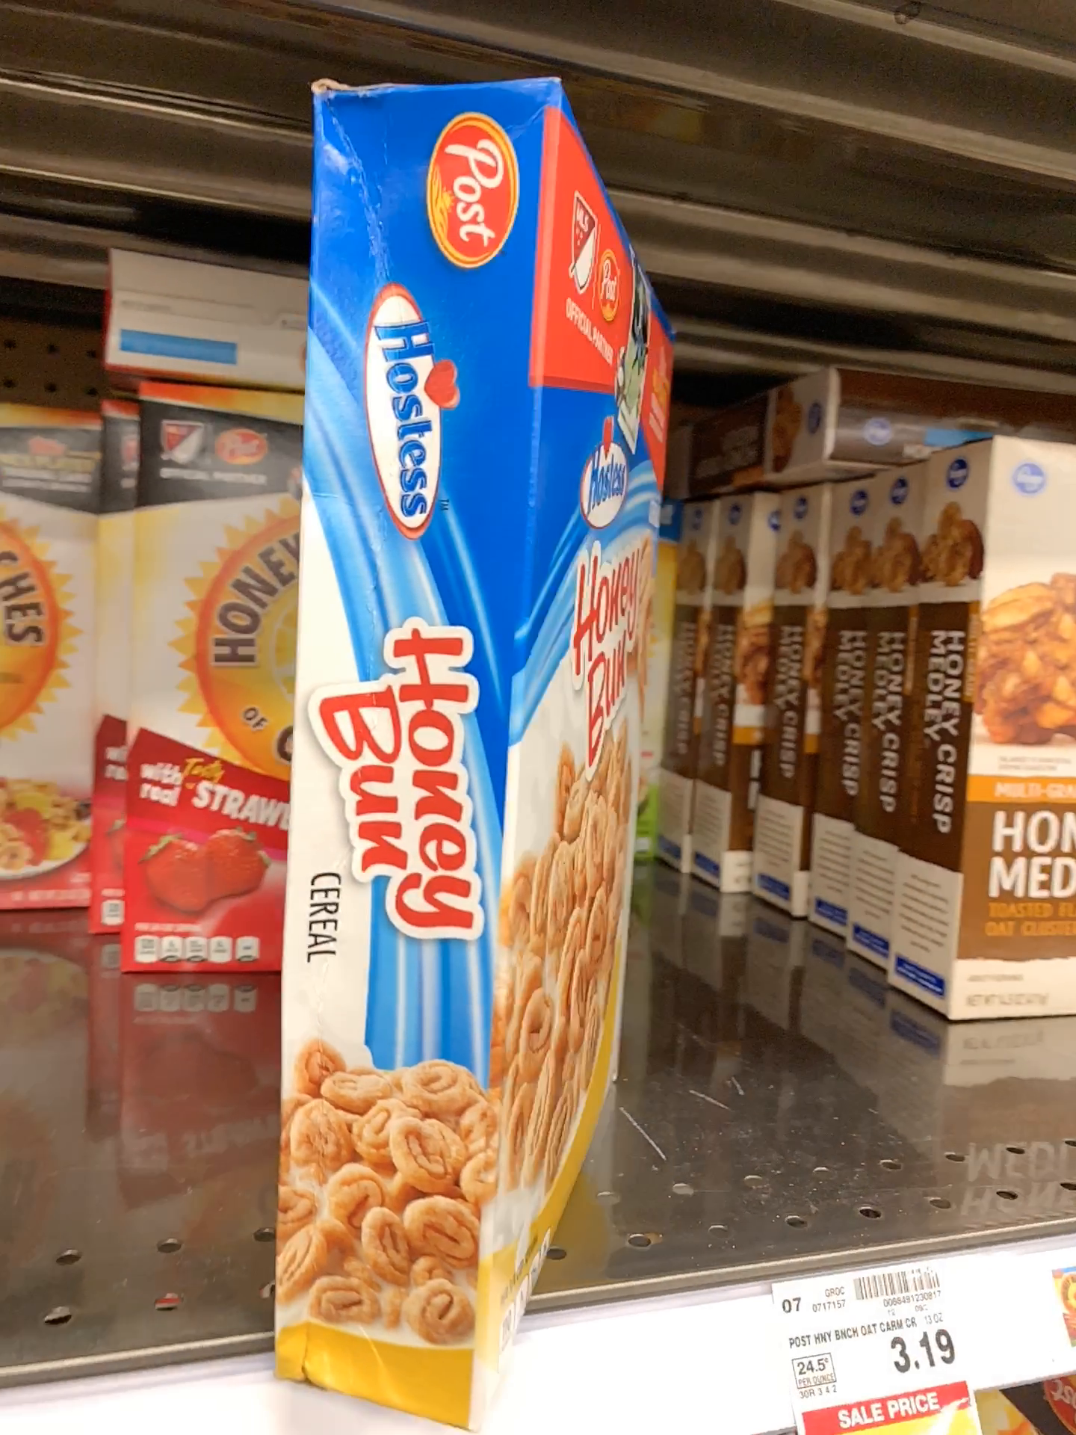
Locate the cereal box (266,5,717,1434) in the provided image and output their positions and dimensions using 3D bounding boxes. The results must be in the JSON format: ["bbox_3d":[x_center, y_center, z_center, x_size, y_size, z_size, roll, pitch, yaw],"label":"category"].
[{"bbox_3d":[0.003,-0.001,0.319,0.060,0.280,0.200,4,5,14],"label":"cereal box"}]
